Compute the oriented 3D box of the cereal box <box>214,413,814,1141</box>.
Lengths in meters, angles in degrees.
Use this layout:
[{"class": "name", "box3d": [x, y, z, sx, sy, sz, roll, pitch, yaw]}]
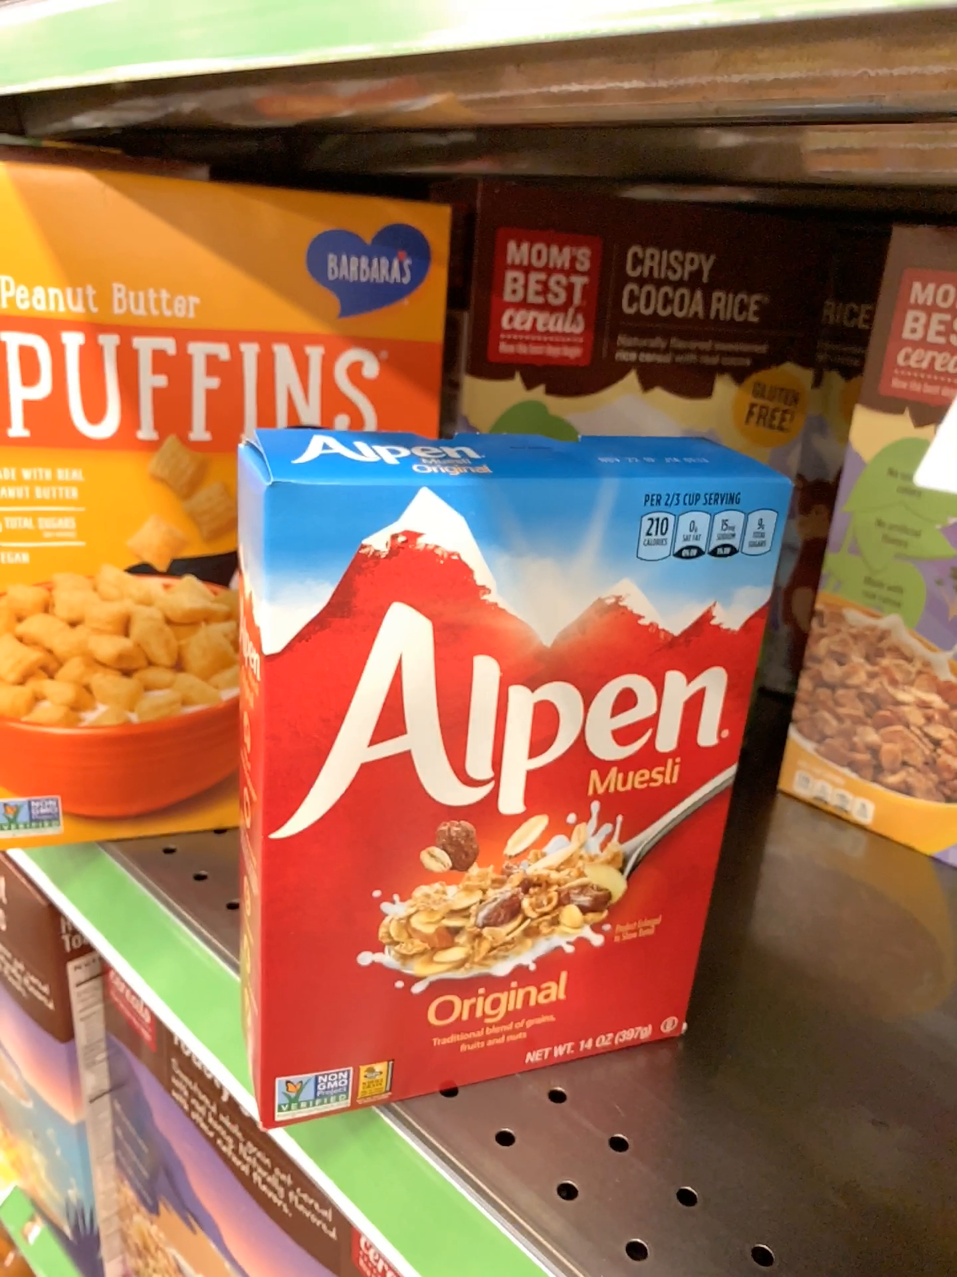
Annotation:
[{"class": "cereal box", "box3d": [0.004, 0.041, 0.307, 0.160, 0.209, 0.040, -3, 22, -21]}]
